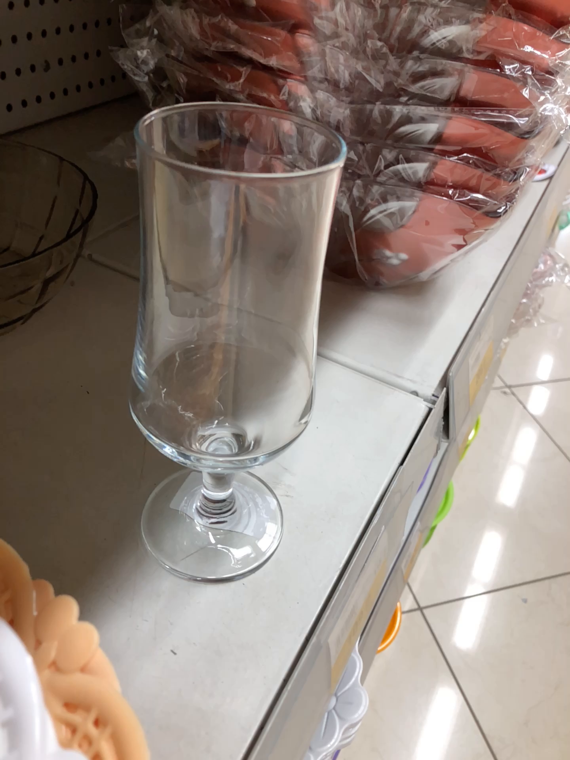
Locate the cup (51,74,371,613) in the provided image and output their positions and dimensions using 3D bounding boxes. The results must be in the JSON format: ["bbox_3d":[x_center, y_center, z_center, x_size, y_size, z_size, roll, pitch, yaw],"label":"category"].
[{"bbox_3d":[-0.026,-0.003,0.253,0.075,0.194,0.079,5,39,-4],"label":"cup"}]
